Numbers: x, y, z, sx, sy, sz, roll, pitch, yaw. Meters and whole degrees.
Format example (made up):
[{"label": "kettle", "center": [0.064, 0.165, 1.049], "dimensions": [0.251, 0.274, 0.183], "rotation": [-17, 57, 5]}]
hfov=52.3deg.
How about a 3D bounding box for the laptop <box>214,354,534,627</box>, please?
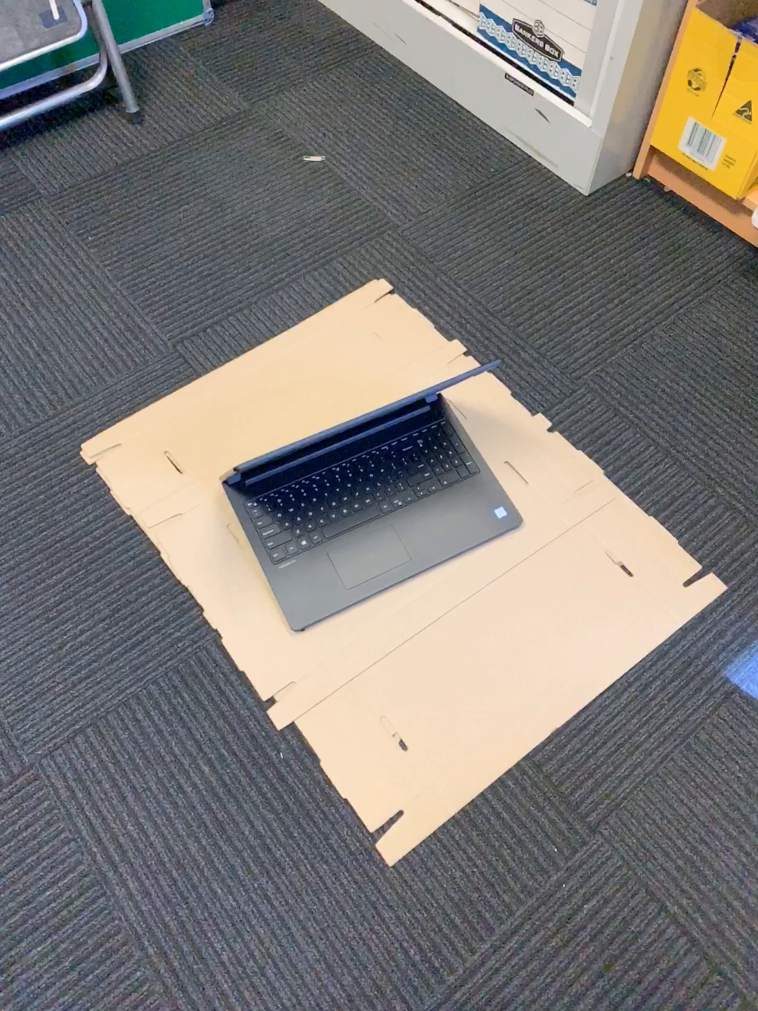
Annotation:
[{"label": "laptop", "center": [-0.007, -0.029, 1.000], "dimensions": [0.341, 0.085, 0.221], "rotation": [-24, 66, -14]}]
